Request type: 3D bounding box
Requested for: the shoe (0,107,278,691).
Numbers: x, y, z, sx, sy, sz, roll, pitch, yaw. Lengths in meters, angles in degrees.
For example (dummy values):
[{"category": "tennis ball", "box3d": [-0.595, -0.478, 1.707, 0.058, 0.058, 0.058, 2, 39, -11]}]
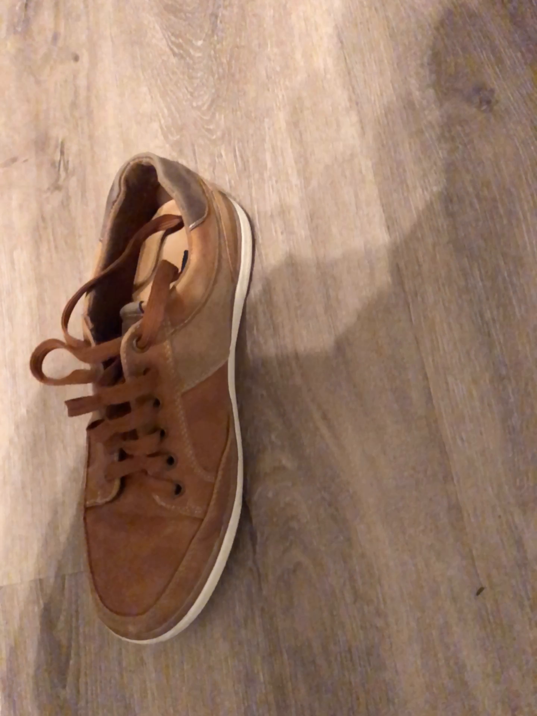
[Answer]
[{"category": "shoe", "box3d": [-0.074, 0.016, 0.349, 0.110, 0.100, 0.280, 0, 78, 23]}]
